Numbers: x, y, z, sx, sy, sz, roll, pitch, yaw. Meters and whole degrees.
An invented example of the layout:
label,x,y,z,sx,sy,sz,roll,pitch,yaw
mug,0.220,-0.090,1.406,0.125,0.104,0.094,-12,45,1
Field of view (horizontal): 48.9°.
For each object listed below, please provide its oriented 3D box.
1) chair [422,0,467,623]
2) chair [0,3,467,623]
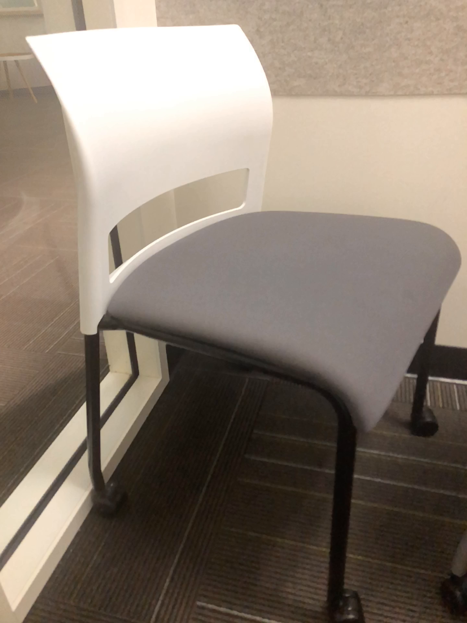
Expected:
label,x,y,z,sx,sy,sz,roll,pitch,yaw
chair,0.833,0.152,0.672,0.704,0.962,0.652,-22,39,-32
chair,0.110,-0.042,0.985,0.650,0.932,0.705,19,35,27
